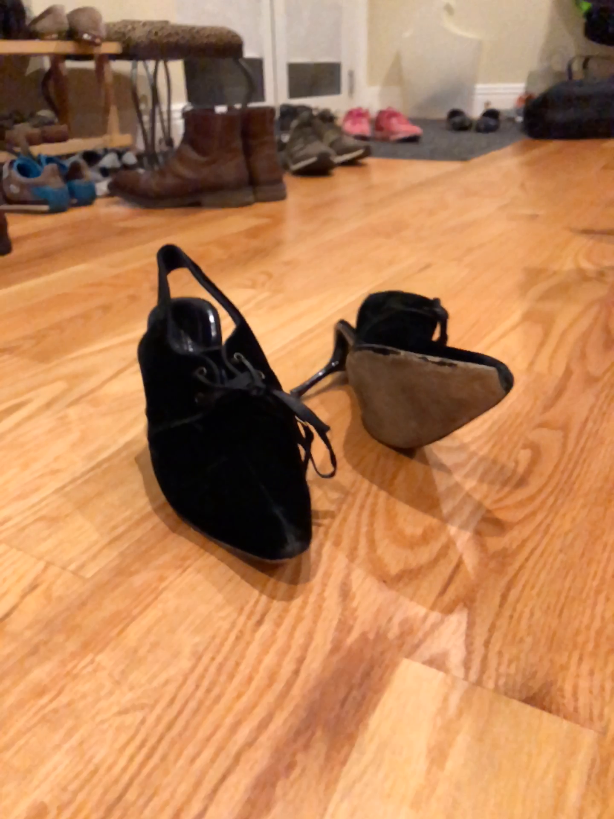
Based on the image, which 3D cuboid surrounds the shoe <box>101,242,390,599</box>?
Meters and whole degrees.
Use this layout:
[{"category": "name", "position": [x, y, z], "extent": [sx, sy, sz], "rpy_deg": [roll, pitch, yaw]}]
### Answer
[{"category": "shoe", "position": [-0.054, -0.019, 0.437], "extent": [0.107, 0.117, 0.253], "rpy_deg": [-11, 27, -18]}]

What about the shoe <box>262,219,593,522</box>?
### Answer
[{"category": "shoe", "position": [0.058, -0.049, 0.469], "extent": [0.118, 0.107, 0.253], "rpy_deg": [-10, 27, -13]}]
